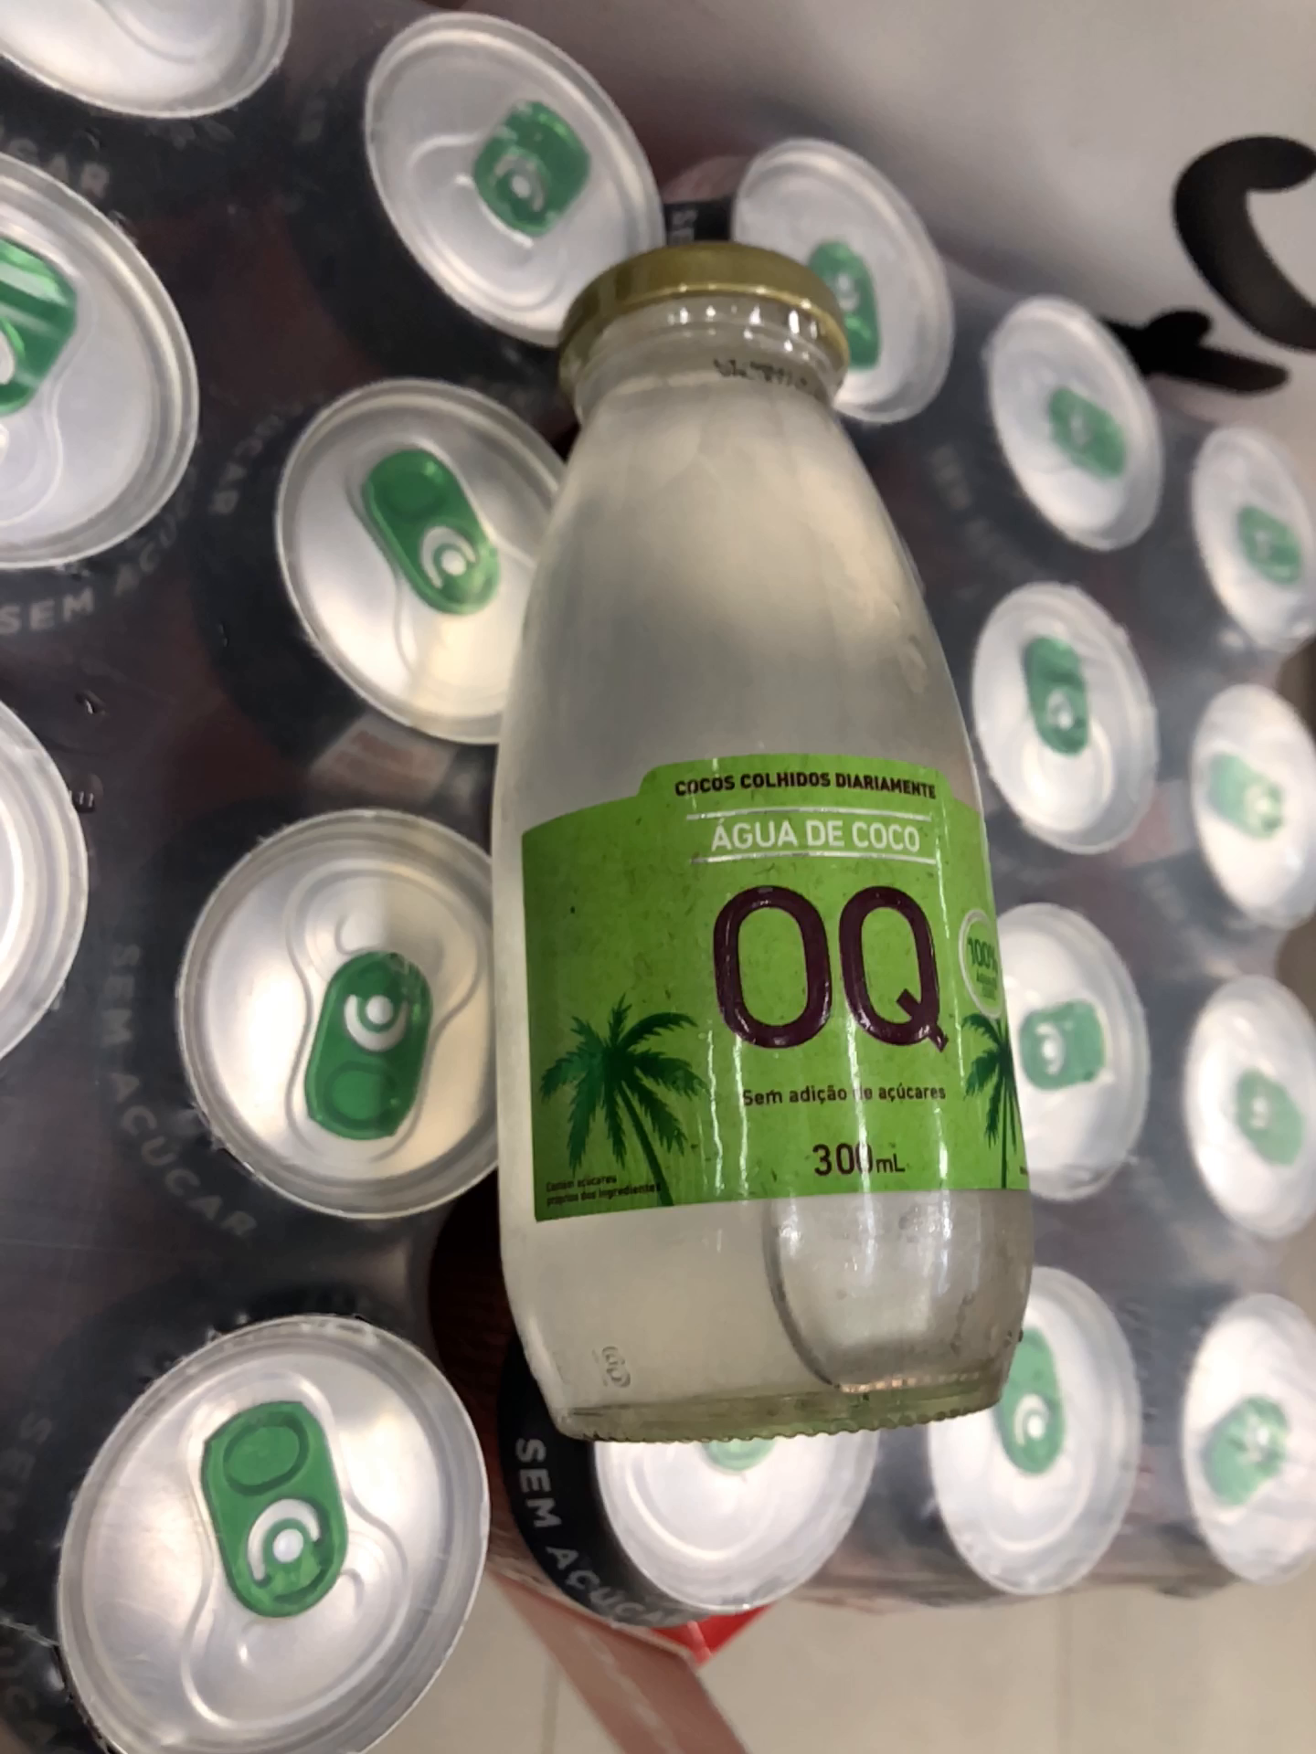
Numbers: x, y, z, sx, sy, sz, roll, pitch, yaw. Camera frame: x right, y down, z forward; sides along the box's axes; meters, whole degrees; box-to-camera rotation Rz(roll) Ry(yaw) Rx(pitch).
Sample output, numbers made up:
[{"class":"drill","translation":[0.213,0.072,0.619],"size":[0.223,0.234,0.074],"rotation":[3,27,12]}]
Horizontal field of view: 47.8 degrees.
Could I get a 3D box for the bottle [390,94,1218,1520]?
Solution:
[{"class":"bottle","translation":[0.009,-0.009,0.189],"size":[0.070,0.060,0.150],"rotation":[-2,77,-18]}]
